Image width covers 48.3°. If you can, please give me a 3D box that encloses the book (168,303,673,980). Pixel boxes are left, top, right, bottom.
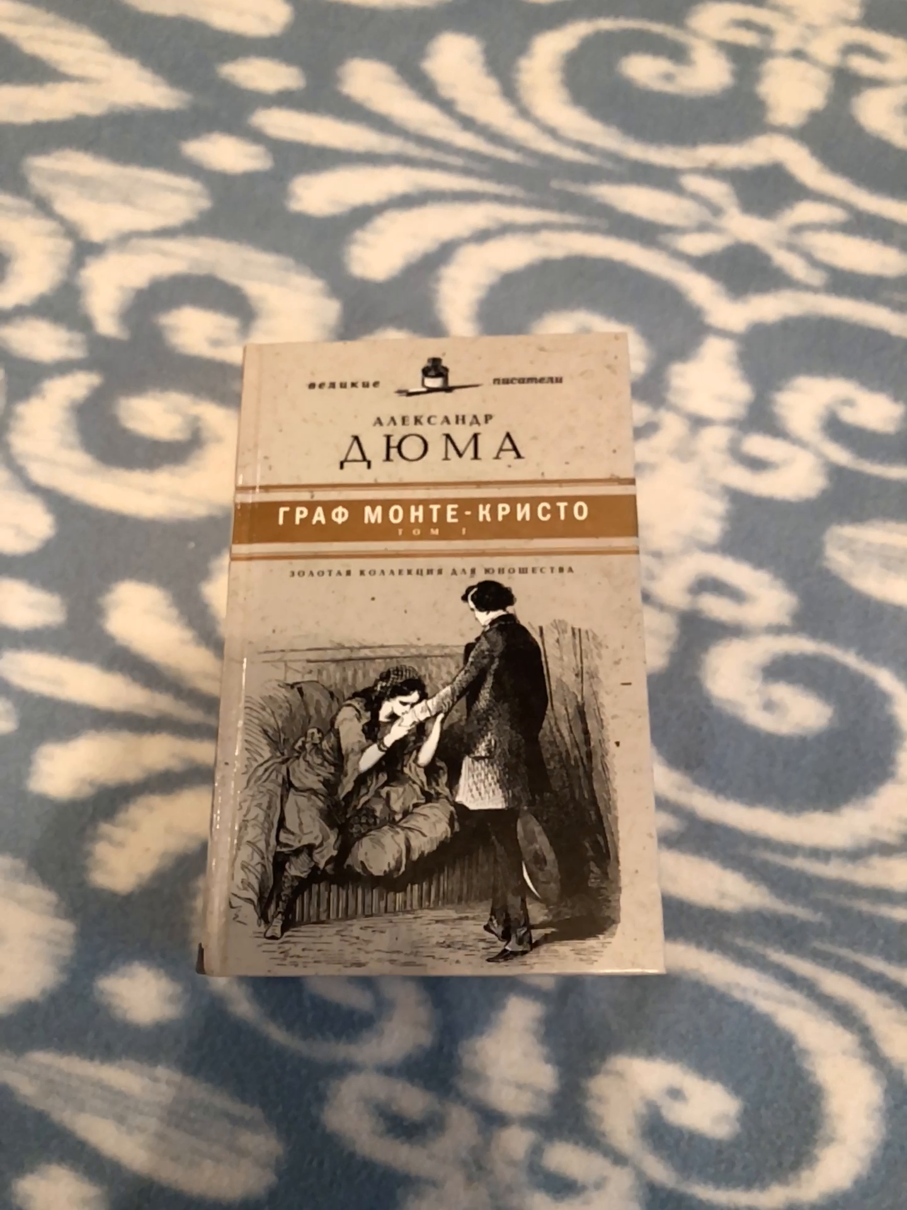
[{"bbox_3d":[-0.010,0.007,0.328,0.138,0.040,0.212,-1,72,2],"label":"book"}]
